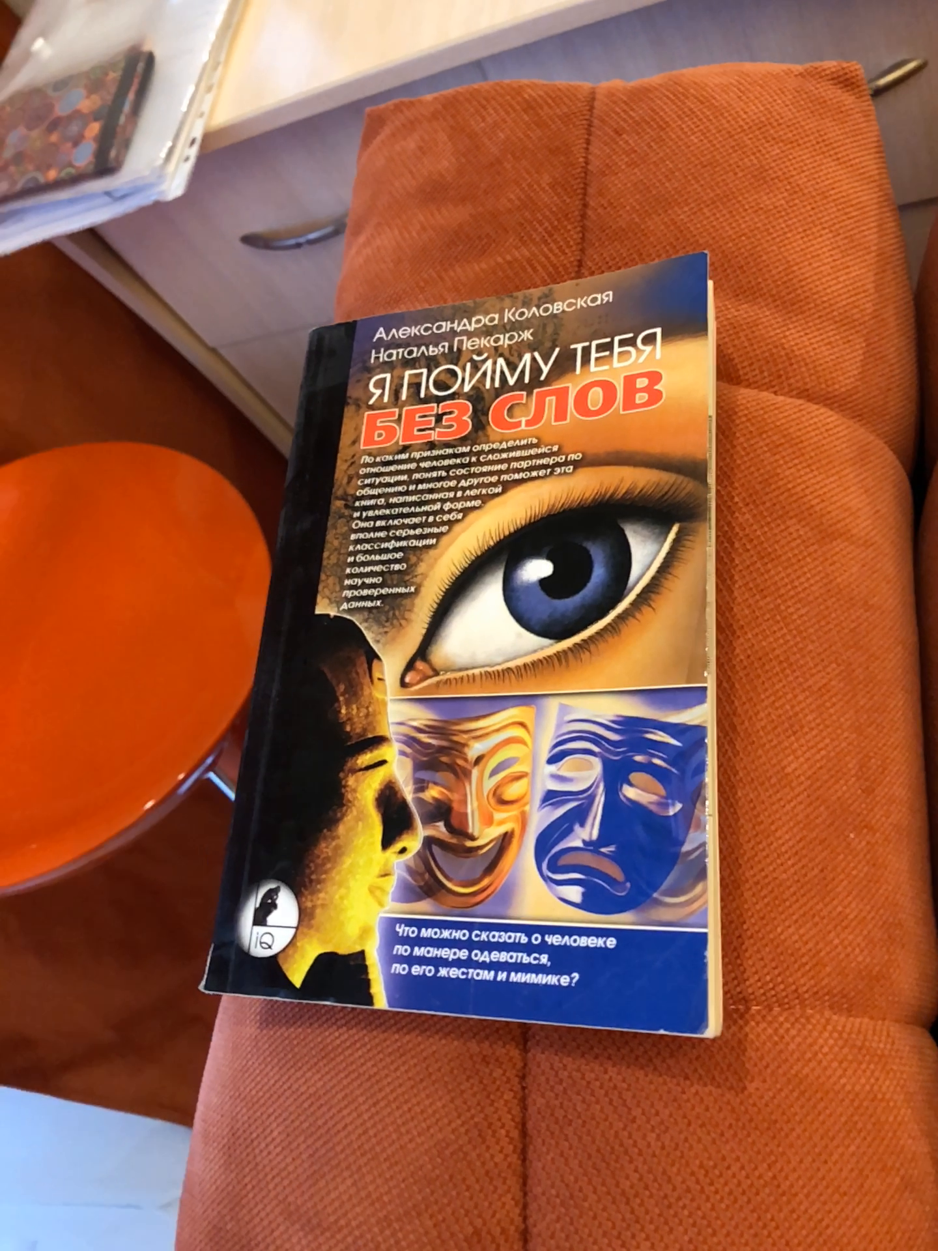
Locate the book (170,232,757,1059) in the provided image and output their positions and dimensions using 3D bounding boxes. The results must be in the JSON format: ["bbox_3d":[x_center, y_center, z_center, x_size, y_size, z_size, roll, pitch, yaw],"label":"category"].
[{"bbox_3d":[0.003,0.000,0.262,0.128,0.030,0.191,-4,67,23],"label":"book"}]
